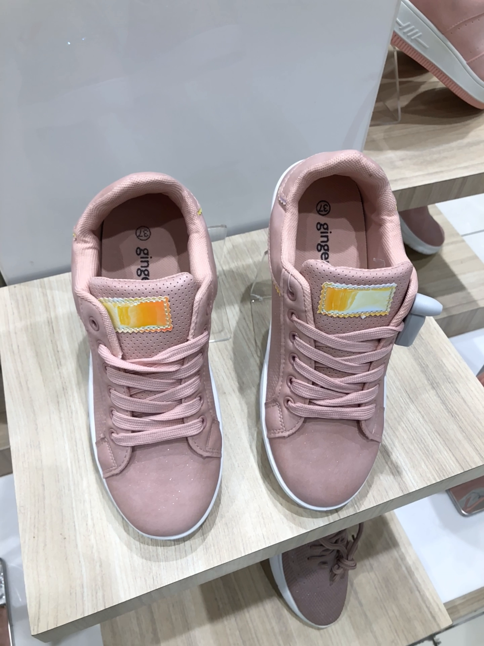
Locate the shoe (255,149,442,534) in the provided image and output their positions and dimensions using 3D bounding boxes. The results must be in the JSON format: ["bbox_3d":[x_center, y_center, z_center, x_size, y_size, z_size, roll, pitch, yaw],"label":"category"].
[{"bbox_3d":[0.067,0.011,0.394,0.100,0.250,0.100,2,10,-2],"label":"shoe"}]

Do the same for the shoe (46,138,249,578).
[{"bbox_3d":[-0.060,0.019,0.375,0.100,0.100,0.260,-5,93,-5],"label":"shoe"}]
